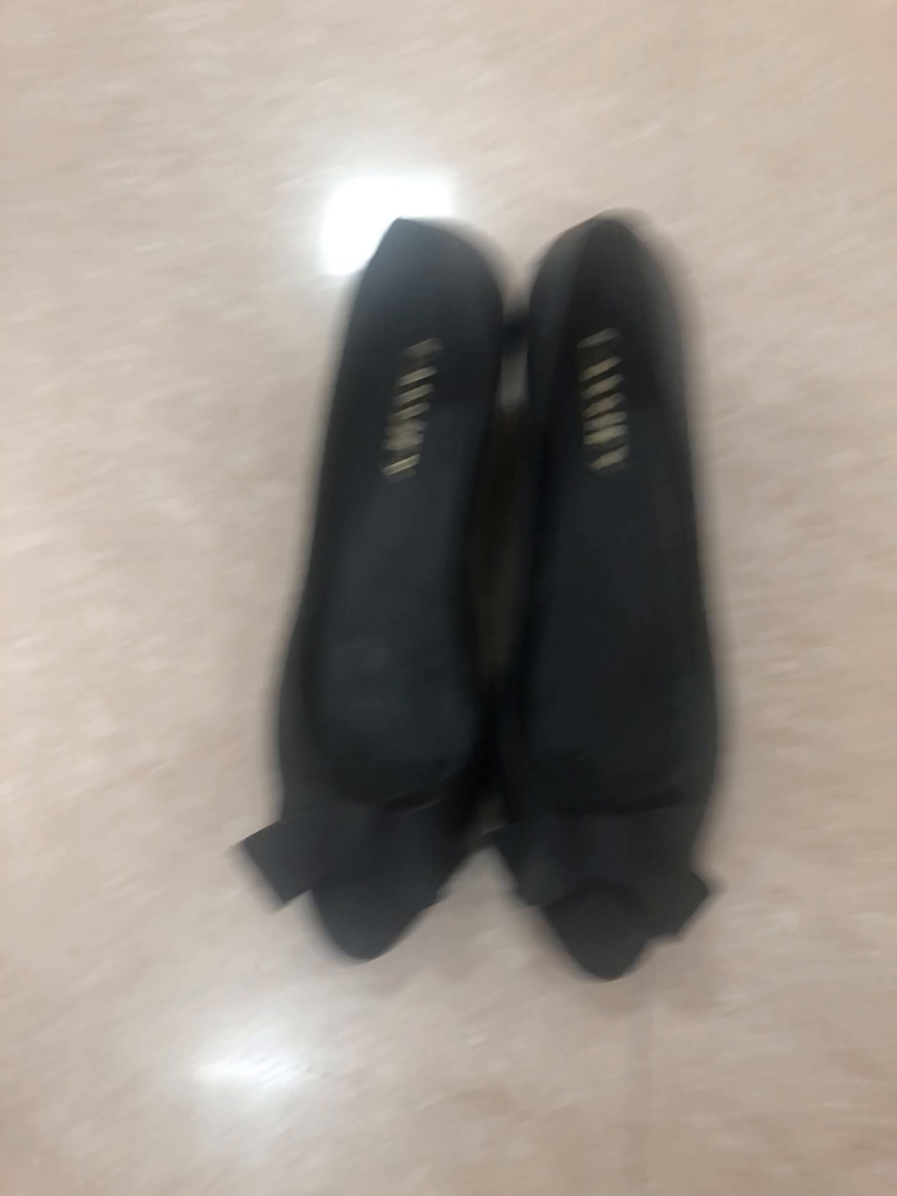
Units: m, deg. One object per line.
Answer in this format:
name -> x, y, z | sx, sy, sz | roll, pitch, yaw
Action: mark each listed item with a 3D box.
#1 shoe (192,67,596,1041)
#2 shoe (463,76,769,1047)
shoe -> -0.010, -0.019, 0.366 | 0.090, 0.090, 0.310 | 7, 84, 7
shoe -> 0.060, -0.016, 0.364 | 0.090, 0.090, 0.310 | 2, 83, 6
